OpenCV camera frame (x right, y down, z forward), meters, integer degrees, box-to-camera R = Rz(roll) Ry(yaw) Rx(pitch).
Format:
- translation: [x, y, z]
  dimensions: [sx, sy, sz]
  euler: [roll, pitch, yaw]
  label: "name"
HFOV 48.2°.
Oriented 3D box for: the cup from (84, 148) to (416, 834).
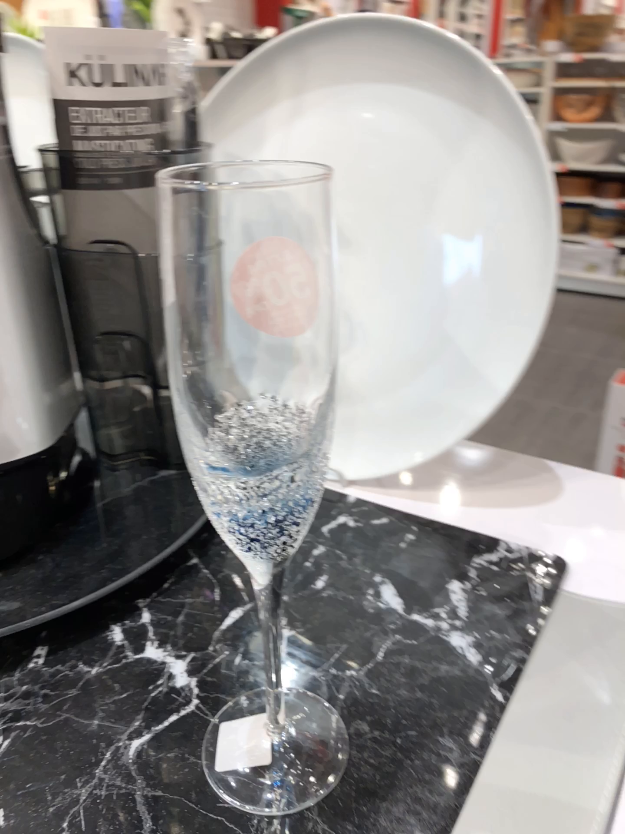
- translation: [-0.017, 0.037, 0.262]
  dimensions: [0.070, 0.249, 0.070]
  euler: [-1, 25, 0]
  label: "cup"
